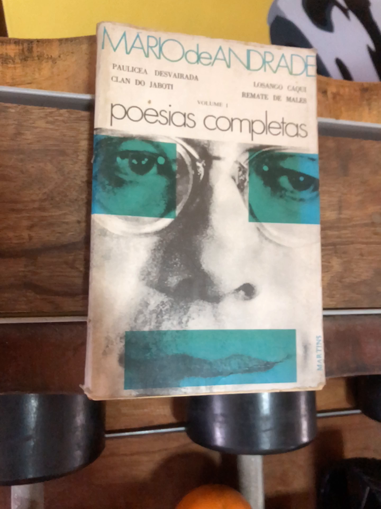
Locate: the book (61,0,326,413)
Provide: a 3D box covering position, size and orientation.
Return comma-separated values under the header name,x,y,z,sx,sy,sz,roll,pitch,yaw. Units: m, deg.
name,x,y,z,sx,sy,sz,roll,pitch,yaw
book,0.006,-0.026,0.238,0.140,0.020,0.209,2,85,-14
